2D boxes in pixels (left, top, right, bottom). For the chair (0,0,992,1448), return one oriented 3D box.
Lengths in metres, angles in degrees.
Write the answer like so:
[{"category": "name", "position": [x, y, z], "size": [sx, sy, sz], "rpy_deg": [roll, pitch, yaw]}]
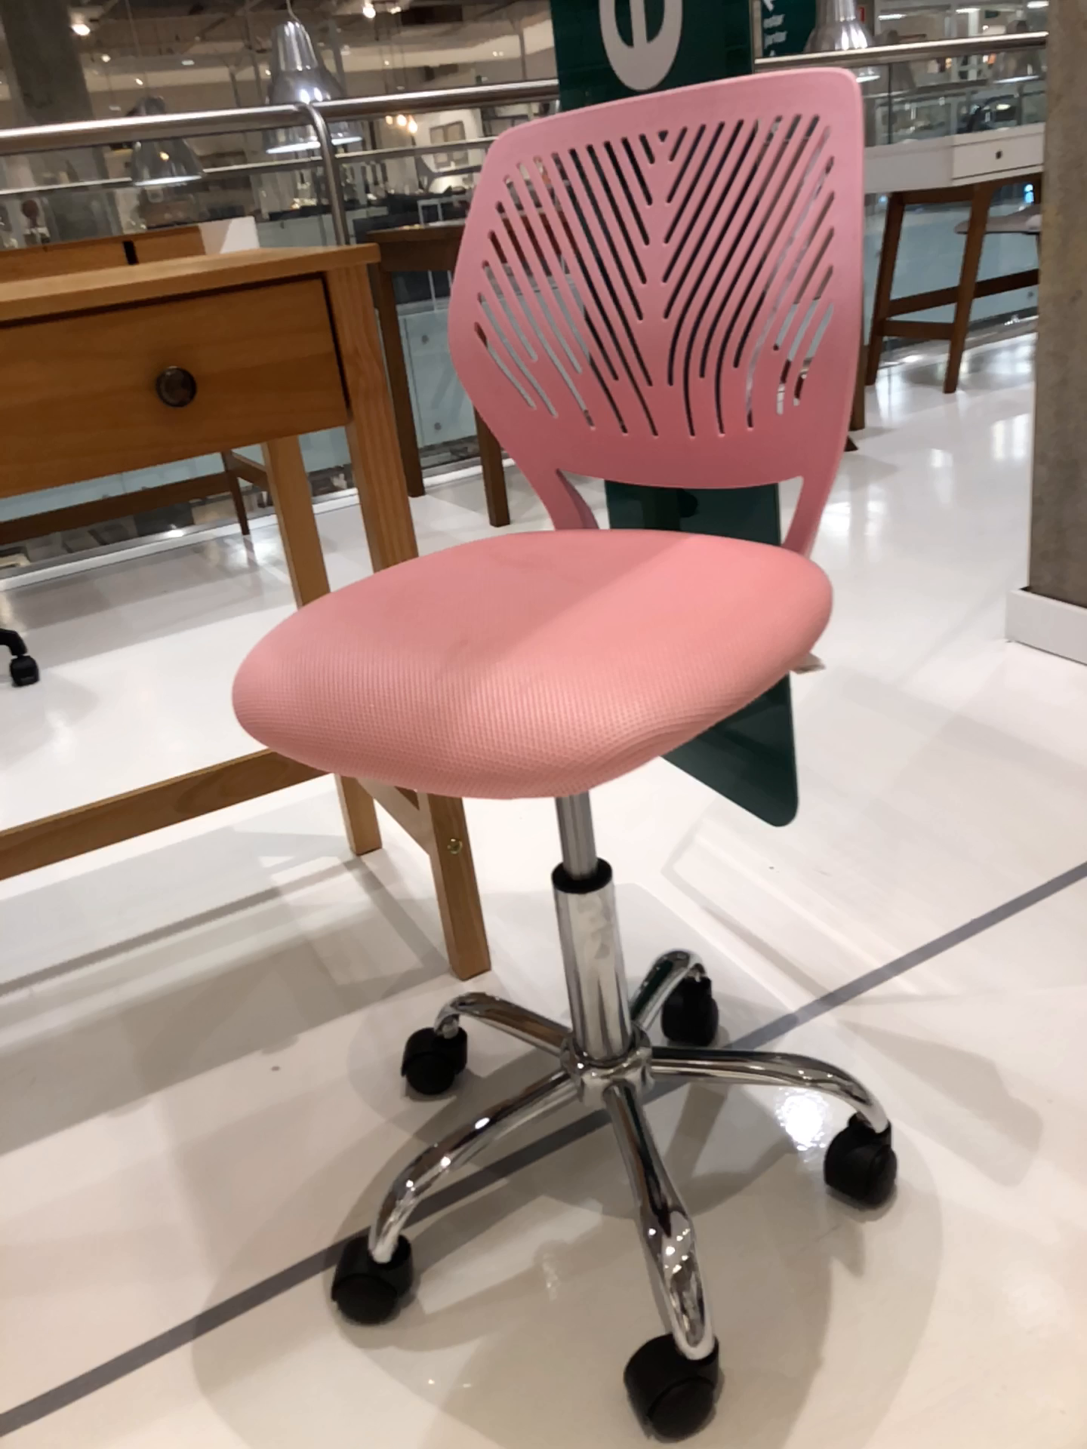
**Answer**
[{"category": "chair", "position": [0.013, -0.026, 0.881], "size": [0.501, 0.834, 0.523], "rpy_deg": [6, 27, 28]}]
